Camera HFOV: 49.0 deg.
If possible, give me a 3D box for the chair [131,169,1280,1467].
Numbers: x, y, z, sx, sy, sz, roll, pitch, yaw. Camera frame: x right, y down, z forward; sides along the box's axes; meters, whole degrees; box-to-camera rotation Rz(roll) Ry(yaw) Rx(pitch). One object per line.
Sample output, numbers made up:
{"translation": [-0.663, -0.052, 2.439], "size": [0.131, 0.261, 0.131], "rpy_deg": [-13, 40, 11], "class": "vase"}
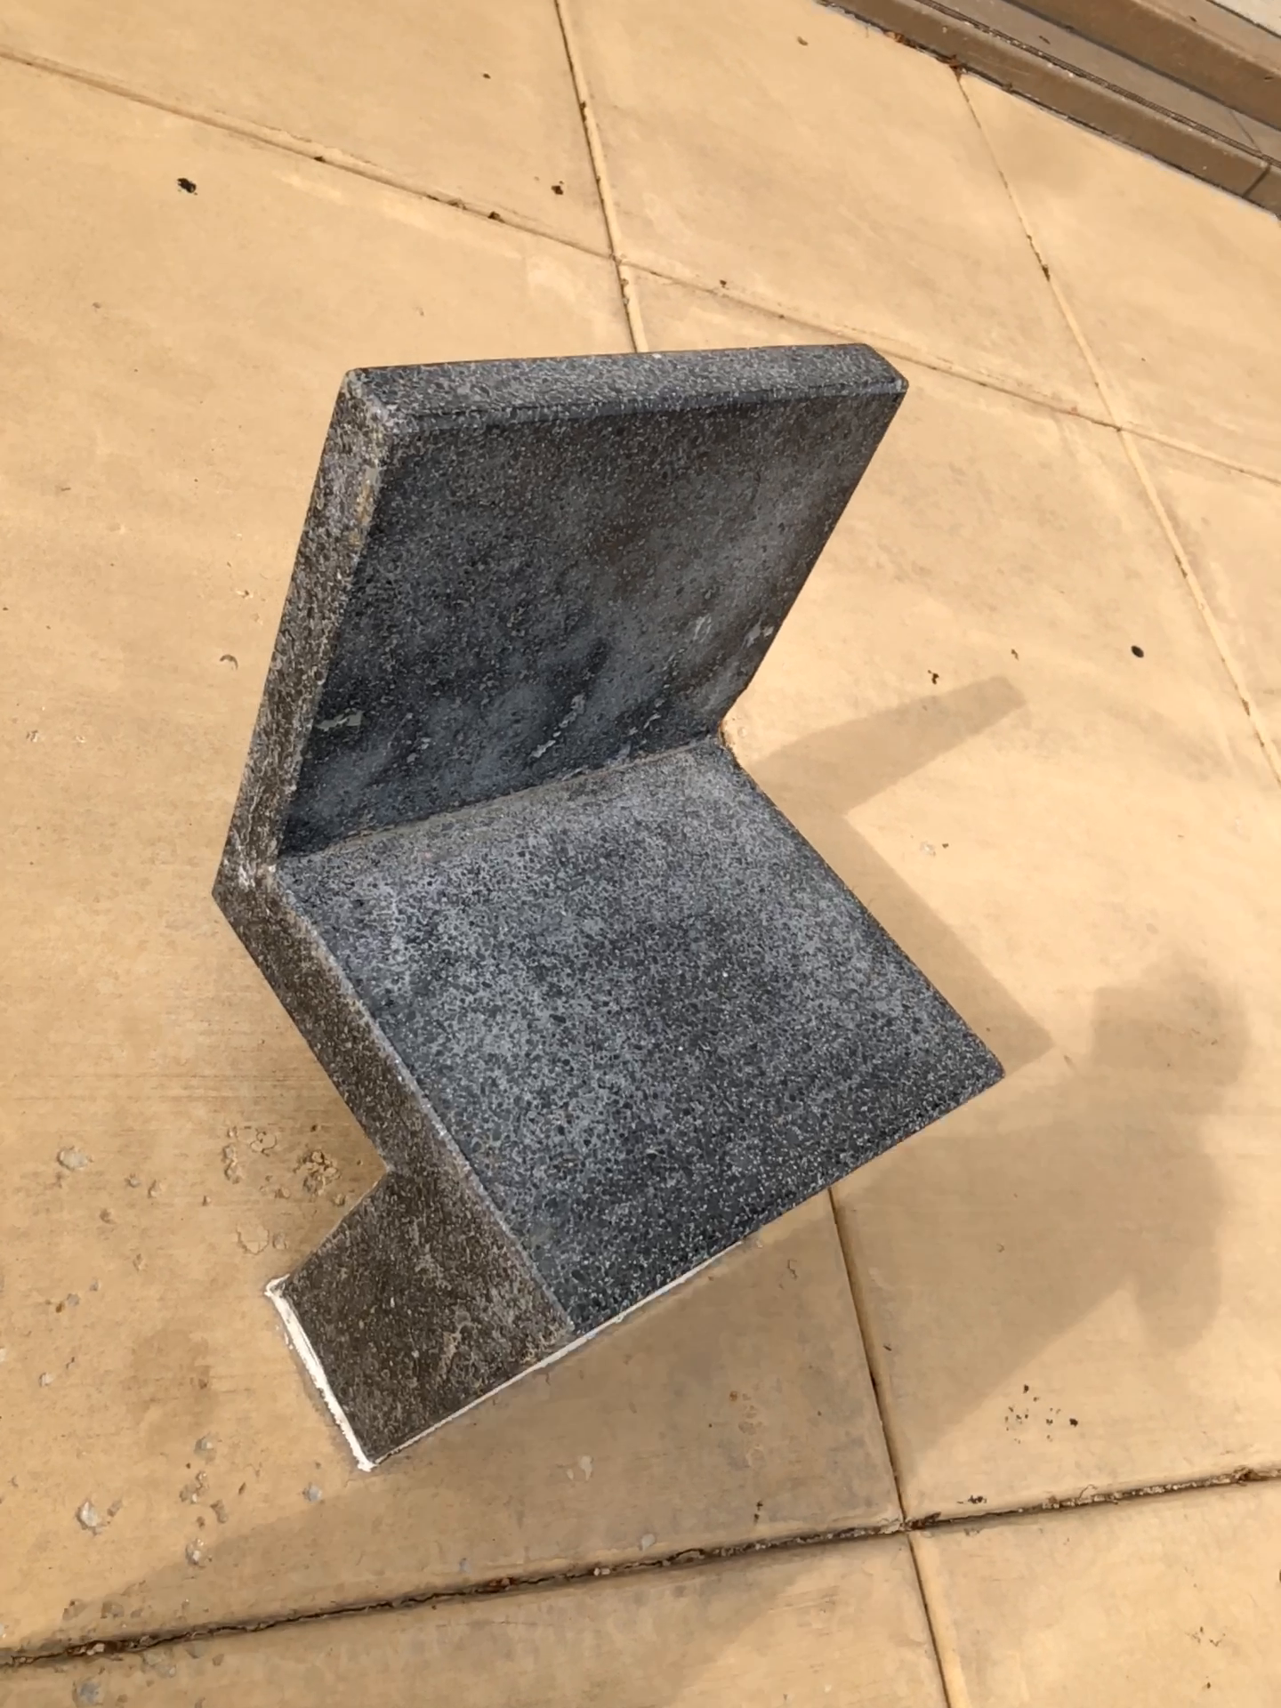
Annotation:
{"translation": [0.024, -0.013, 1.194], "size": [0.572, 0.798, 0.559], "rpy_deg": [-16, 60, -41], "class": "chair"}
